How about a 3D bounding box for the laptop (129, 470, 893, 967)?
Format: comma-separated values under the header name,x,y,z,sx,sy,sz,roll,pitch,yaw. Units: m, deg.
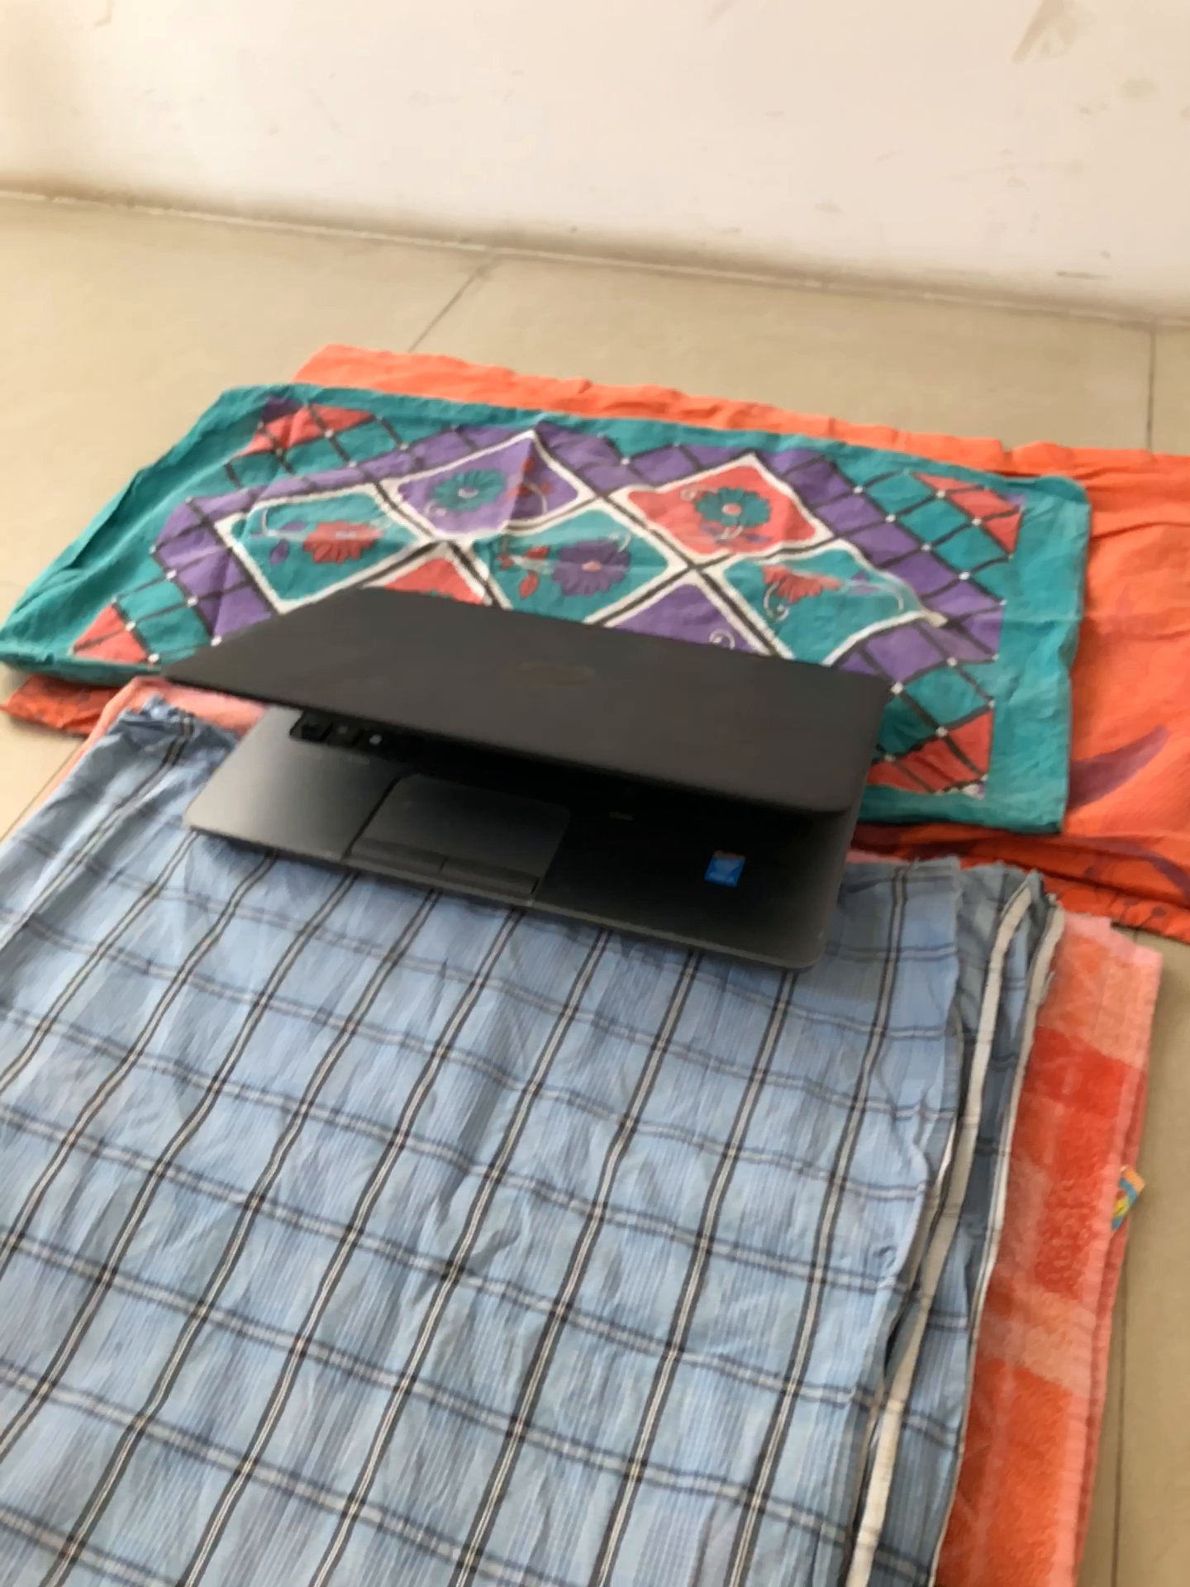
name,x,y,z,sx,sy,sz,roll,pitch,yaw
laptop,-0.025,-0.053,0.686,0.321,0.099,0.213,13,42,11
